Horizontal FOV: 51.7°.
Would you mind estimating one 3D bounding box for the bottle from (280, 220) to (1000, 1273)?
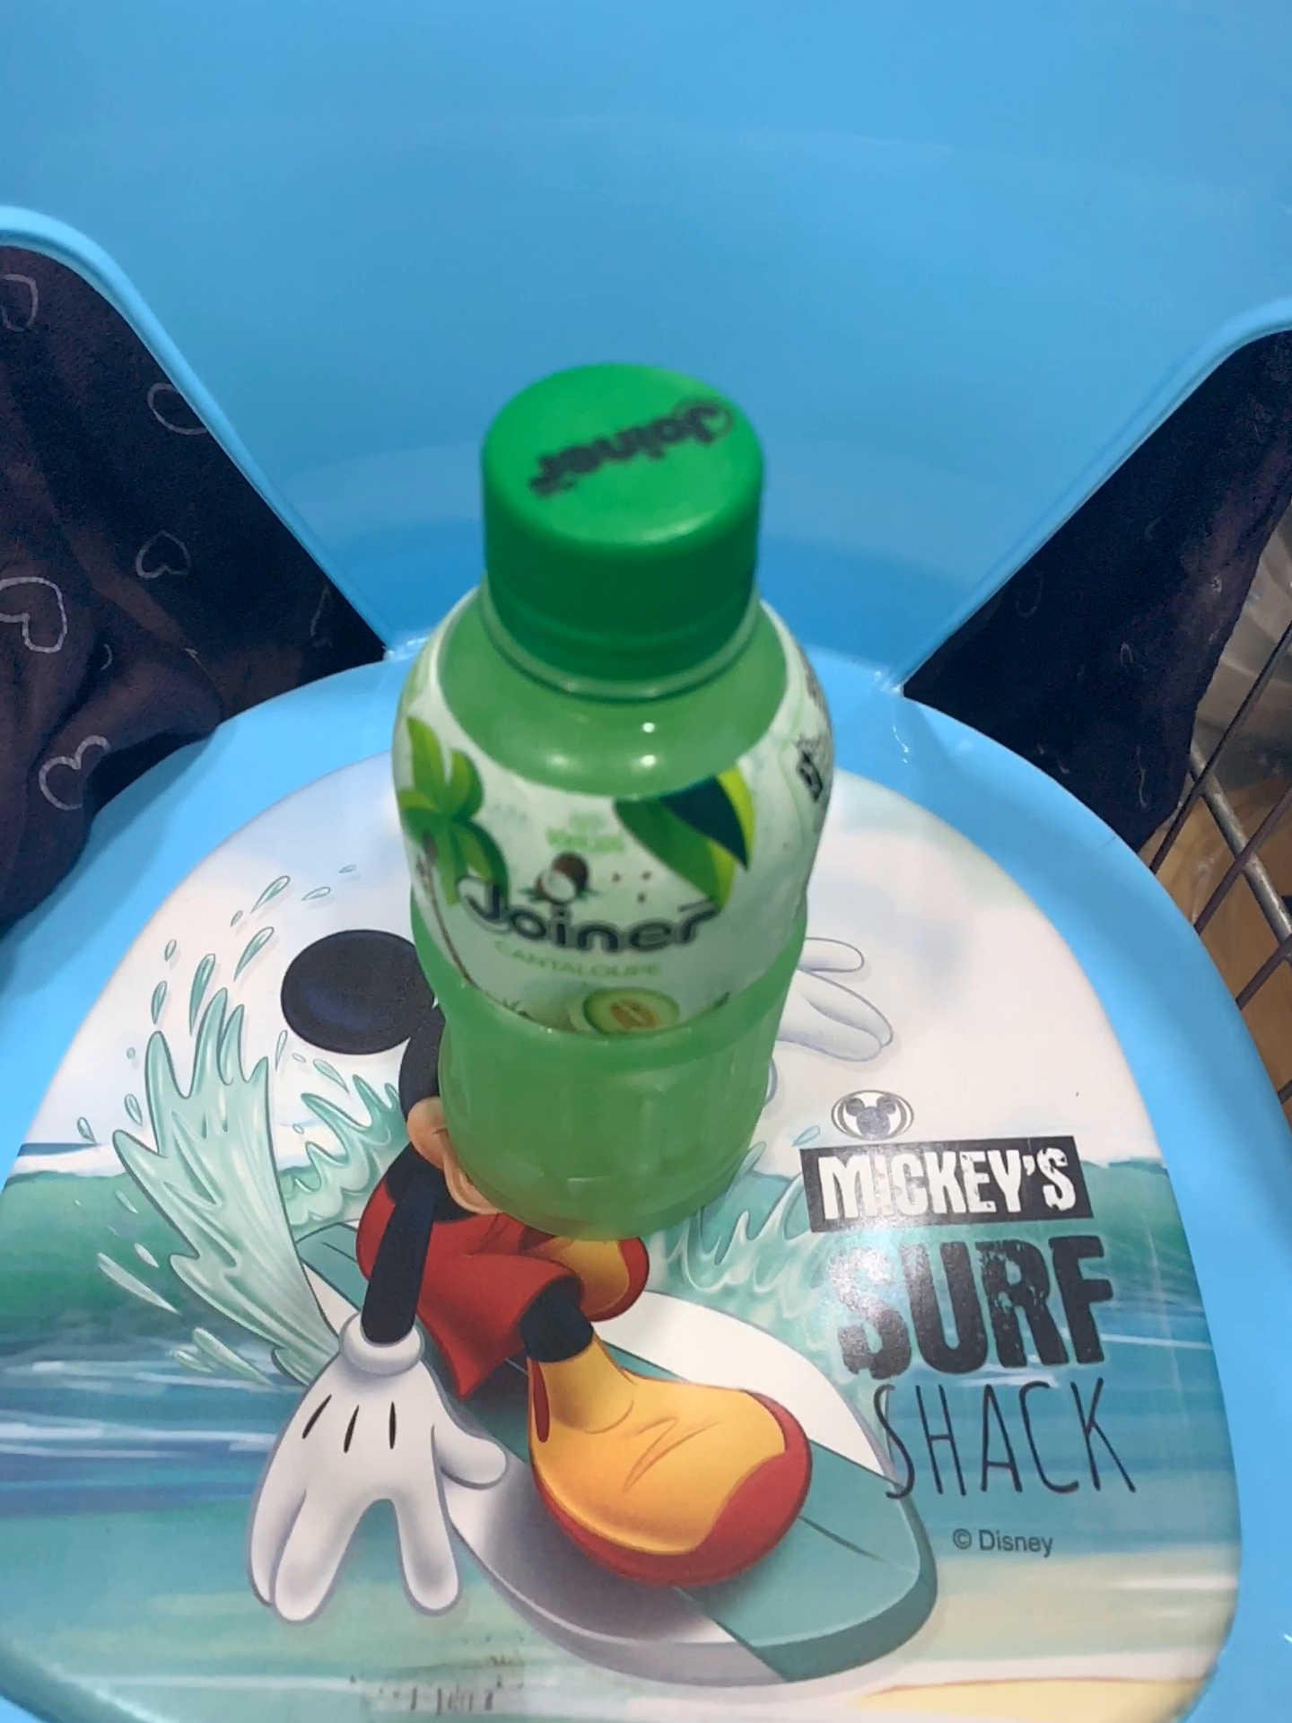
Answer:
[{"bbox_3d":[0.000,-0.002,0.184,0.060,0.140,0.060,1,51,-1],"label":"bottle"}]
